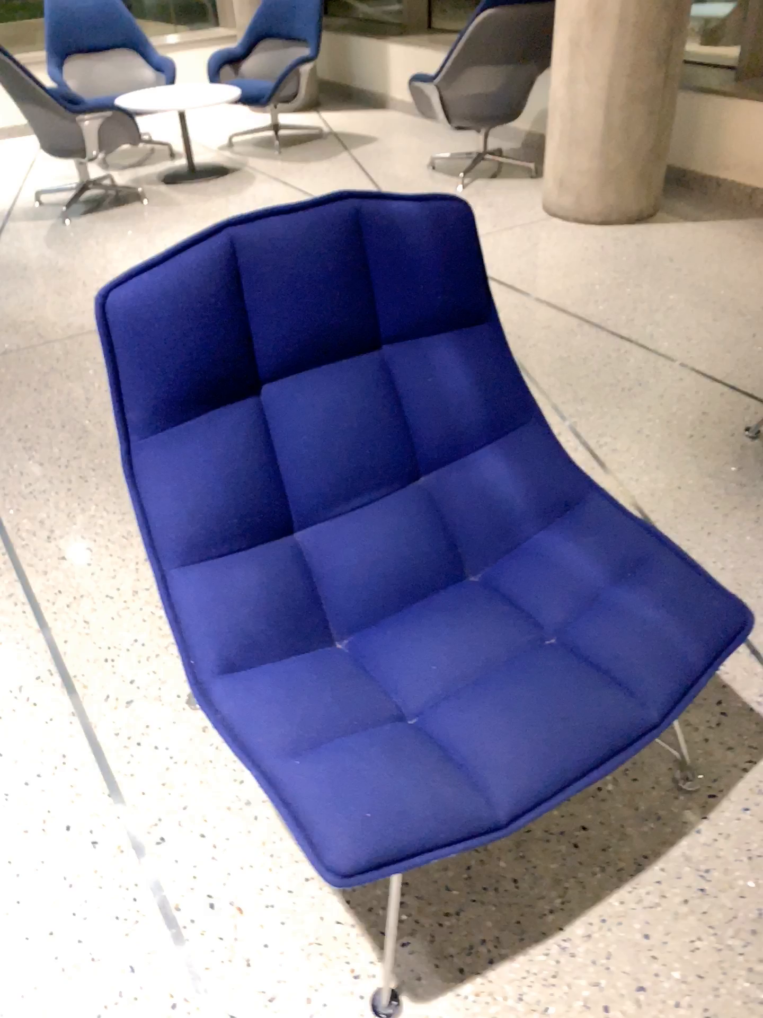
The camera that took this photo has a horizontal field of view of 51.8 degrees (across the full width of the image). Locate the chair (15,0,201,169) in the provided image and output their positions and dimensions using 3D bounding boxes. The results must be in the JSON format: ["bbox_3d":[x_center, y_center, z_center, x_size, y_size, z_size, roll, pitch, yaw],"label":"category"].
[{"bbox_3d":[-1.687,-2.759,4.911,0.672,0.941,0.775,-25,42,-26],"label":"chair"}]

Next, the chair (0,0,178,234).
[{"bbox_3d":[-1.681,-2.092,4.111,0.773,0.931,0.805,-26,43,-27],"label":"chair"}]

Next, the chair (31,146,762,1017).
[{"bbox_3d":[0.096,0.064,1.252,0.810,0.931,0.785,-23,42,-24],"label":"chair"}]

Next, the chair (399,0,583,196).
[{"bbox_3d":[0.569,-2.398,4.383,0.641,0.961,0.776,-18,41,-18],"label":"chair"}]

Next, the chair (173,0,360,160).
[{"bbox_3d":[-0.719,-2.934,5.133,0.783,0.971,0.764,28,47,34],"label":"chair"}]
